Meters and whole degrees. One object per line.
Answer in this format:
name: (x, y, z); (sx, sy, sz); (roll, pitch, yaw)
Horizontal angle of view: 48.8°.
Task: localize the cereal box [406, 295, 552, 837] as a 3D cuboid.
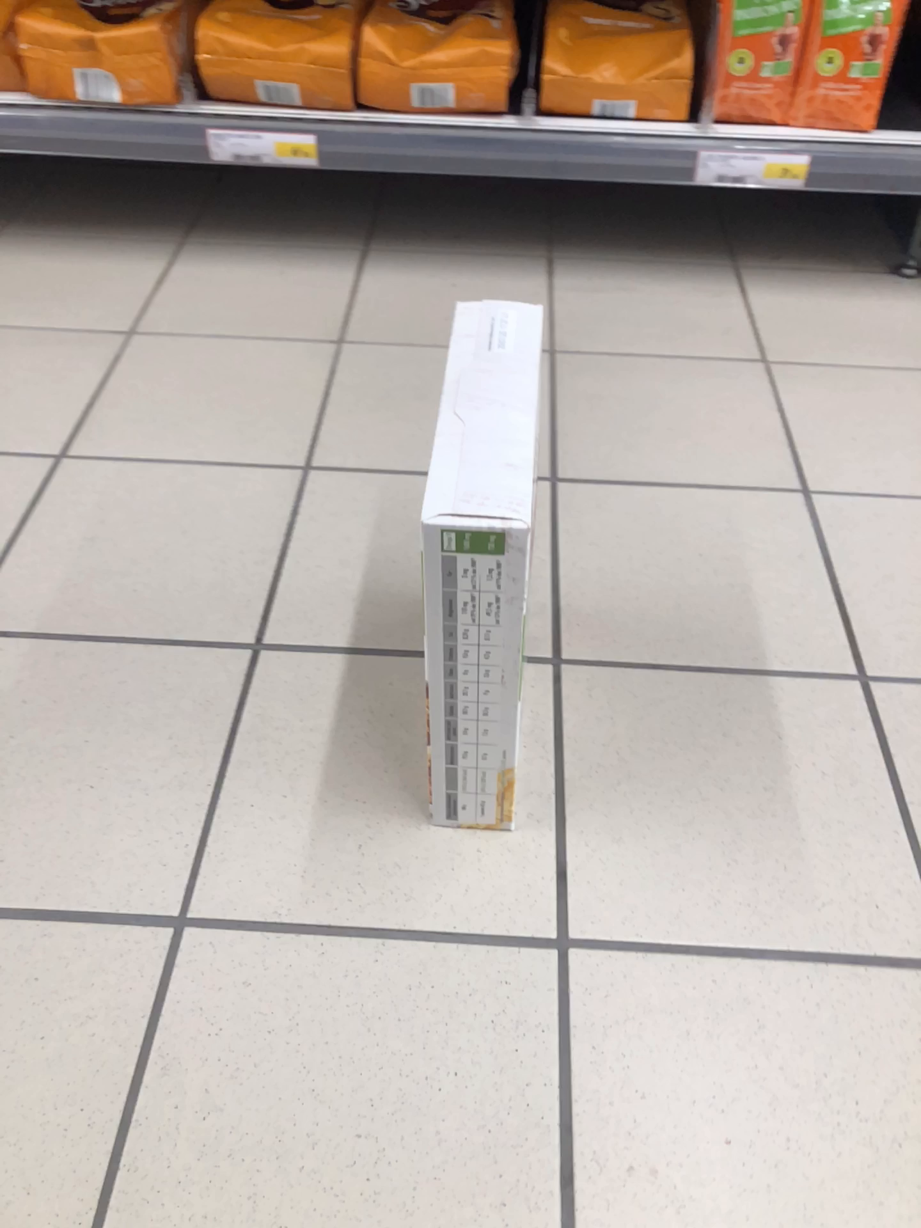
cereal box: (0.011, -0.024, 0.565); (0.060, 0.229, 0.191); (3, 44, 2)
